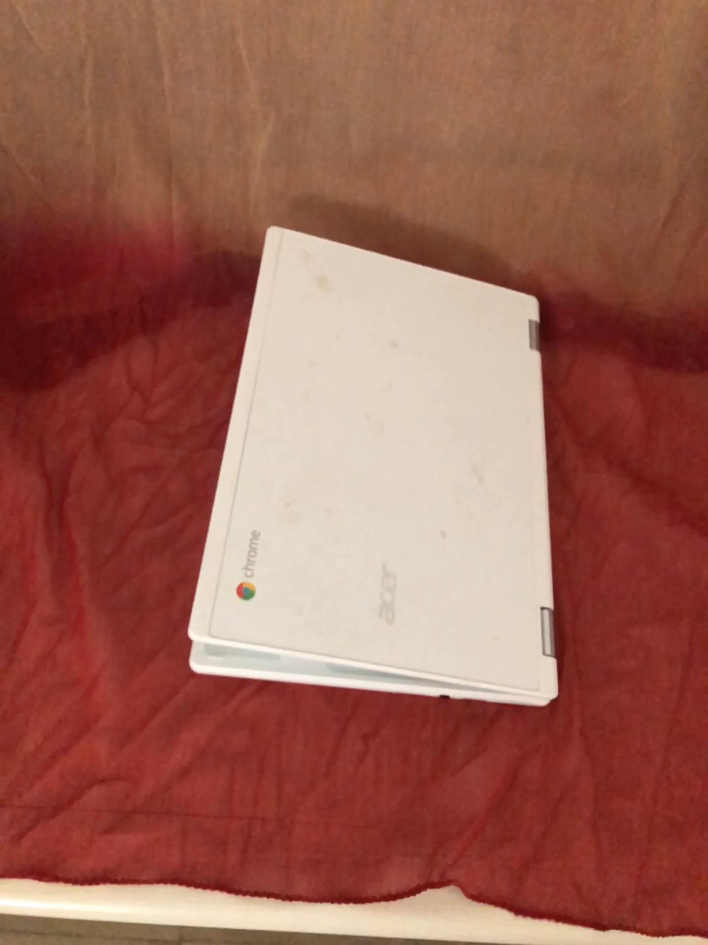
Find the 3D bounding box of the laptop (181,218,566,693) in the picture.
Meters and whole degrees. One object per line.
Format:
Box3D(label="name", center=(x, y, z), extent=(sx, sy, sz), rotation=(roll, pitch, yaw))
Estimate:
Box3D(label="laptop", center=(0.023, -0.027, 0.485), extent=(0.189, 0.055, 0.289), rotation=(6, 58, 1))
